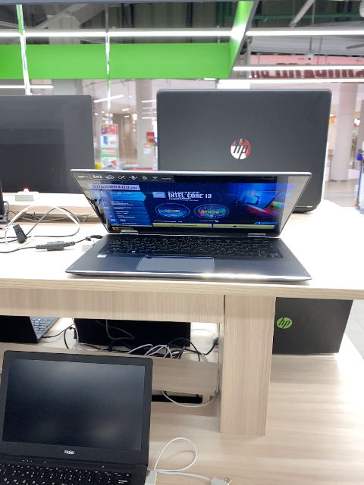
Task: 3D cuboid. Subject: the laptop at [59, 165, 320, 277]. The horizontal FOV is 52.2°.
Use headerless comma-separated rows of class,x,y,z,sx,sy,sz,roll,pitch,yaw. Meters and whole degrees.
laptop,0.011,-0.049,0.576,0.320,0.128,0.217,1,14,4
